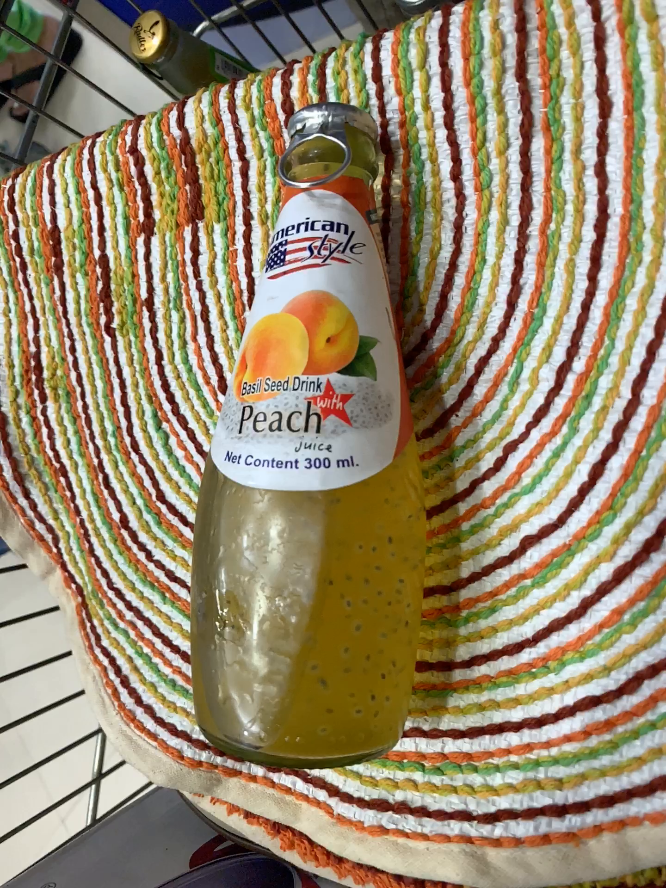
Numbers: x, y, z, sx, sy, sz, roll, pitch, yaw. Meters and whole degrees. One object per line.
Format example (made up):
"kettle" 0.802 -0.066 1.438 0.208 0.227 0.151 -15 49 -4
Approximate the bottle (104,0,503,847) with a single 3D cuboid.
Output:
"bottle" 0.001 -0.013 0.195 0.070 0.060 0.200 6 81 11
